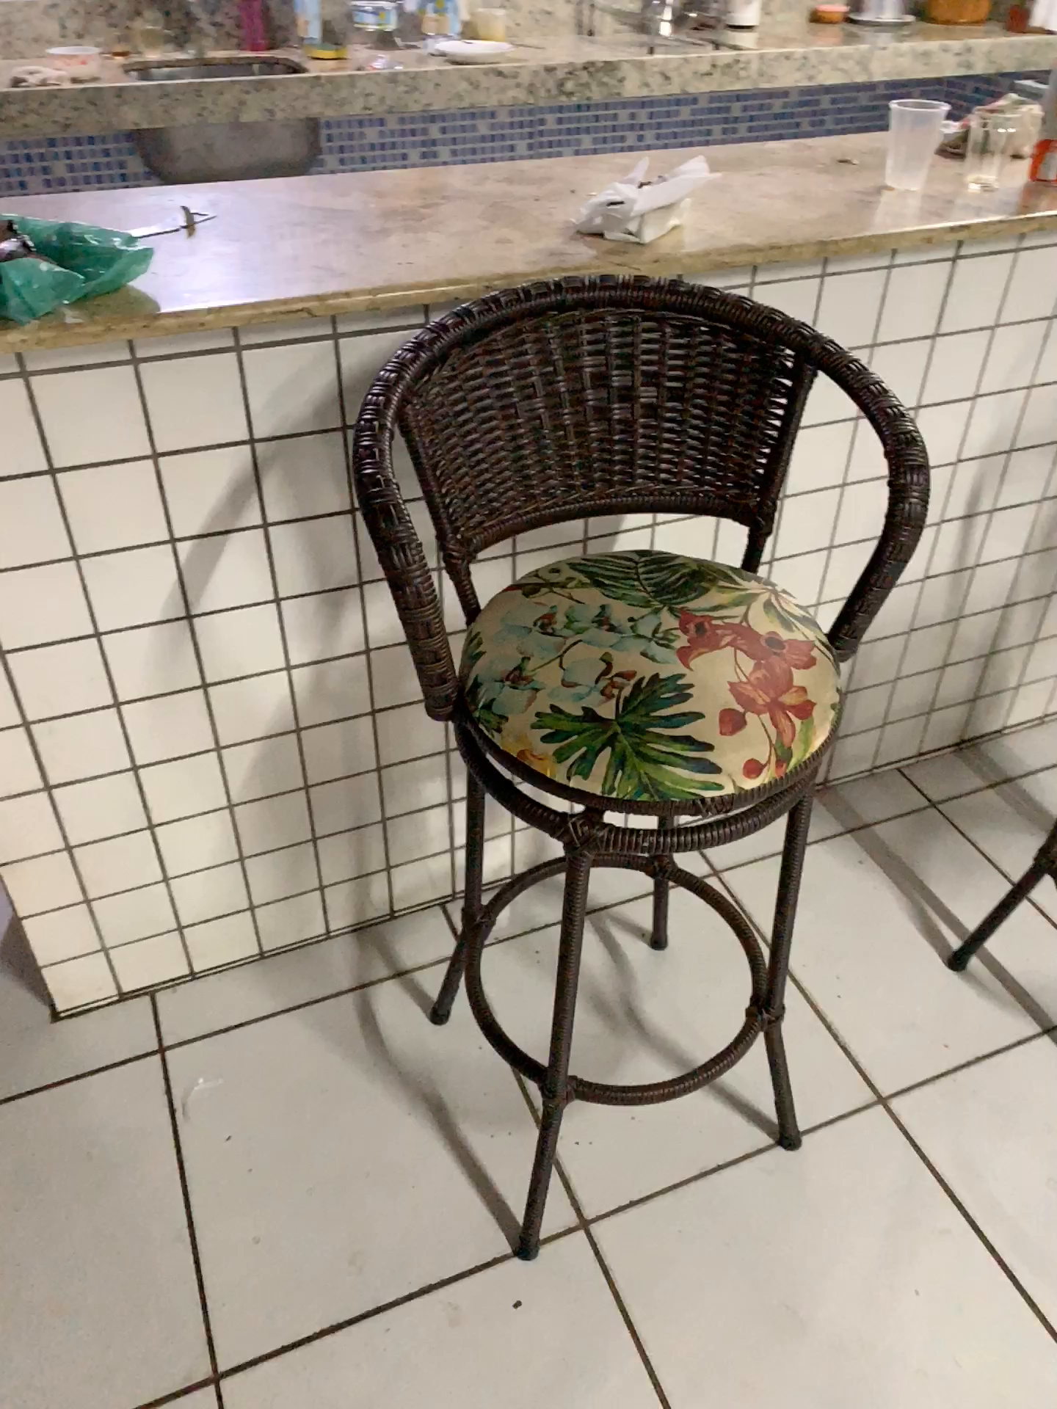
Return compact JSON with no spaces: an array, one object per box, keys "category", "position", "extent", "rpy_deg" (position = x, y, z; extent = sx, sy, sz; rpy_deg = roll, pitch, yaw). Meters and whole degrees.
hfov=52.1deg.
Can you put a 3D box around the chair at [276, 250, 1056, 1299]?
[{"category":"chair","position":[0.086,0.091,1.224],"extent":[0.501,0.974,0.532],"rpy_deg":[-14,40,-19]}]
